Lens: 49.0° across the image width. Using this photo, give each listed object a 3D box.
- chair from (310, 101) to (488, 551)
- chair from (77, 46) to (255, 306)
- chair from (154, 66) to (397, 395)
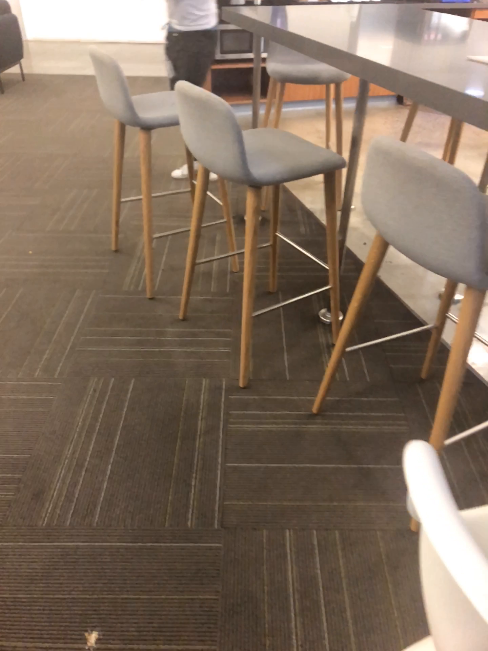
[{"bbox_3d":[0.599,0.000,1.498,0.542,1.031,0.543,-14,38,-21],"label":"chair"},{"bbox_3d":[-0.339,-0.694,2.444,0.542,0.942,0.573,-17,39,-24],"label":"chair"},{"bbox_3d":[0.072,-0.360,1.943,0.542,0.942,0.573,-17,39,-24],"label":"chair"}]
